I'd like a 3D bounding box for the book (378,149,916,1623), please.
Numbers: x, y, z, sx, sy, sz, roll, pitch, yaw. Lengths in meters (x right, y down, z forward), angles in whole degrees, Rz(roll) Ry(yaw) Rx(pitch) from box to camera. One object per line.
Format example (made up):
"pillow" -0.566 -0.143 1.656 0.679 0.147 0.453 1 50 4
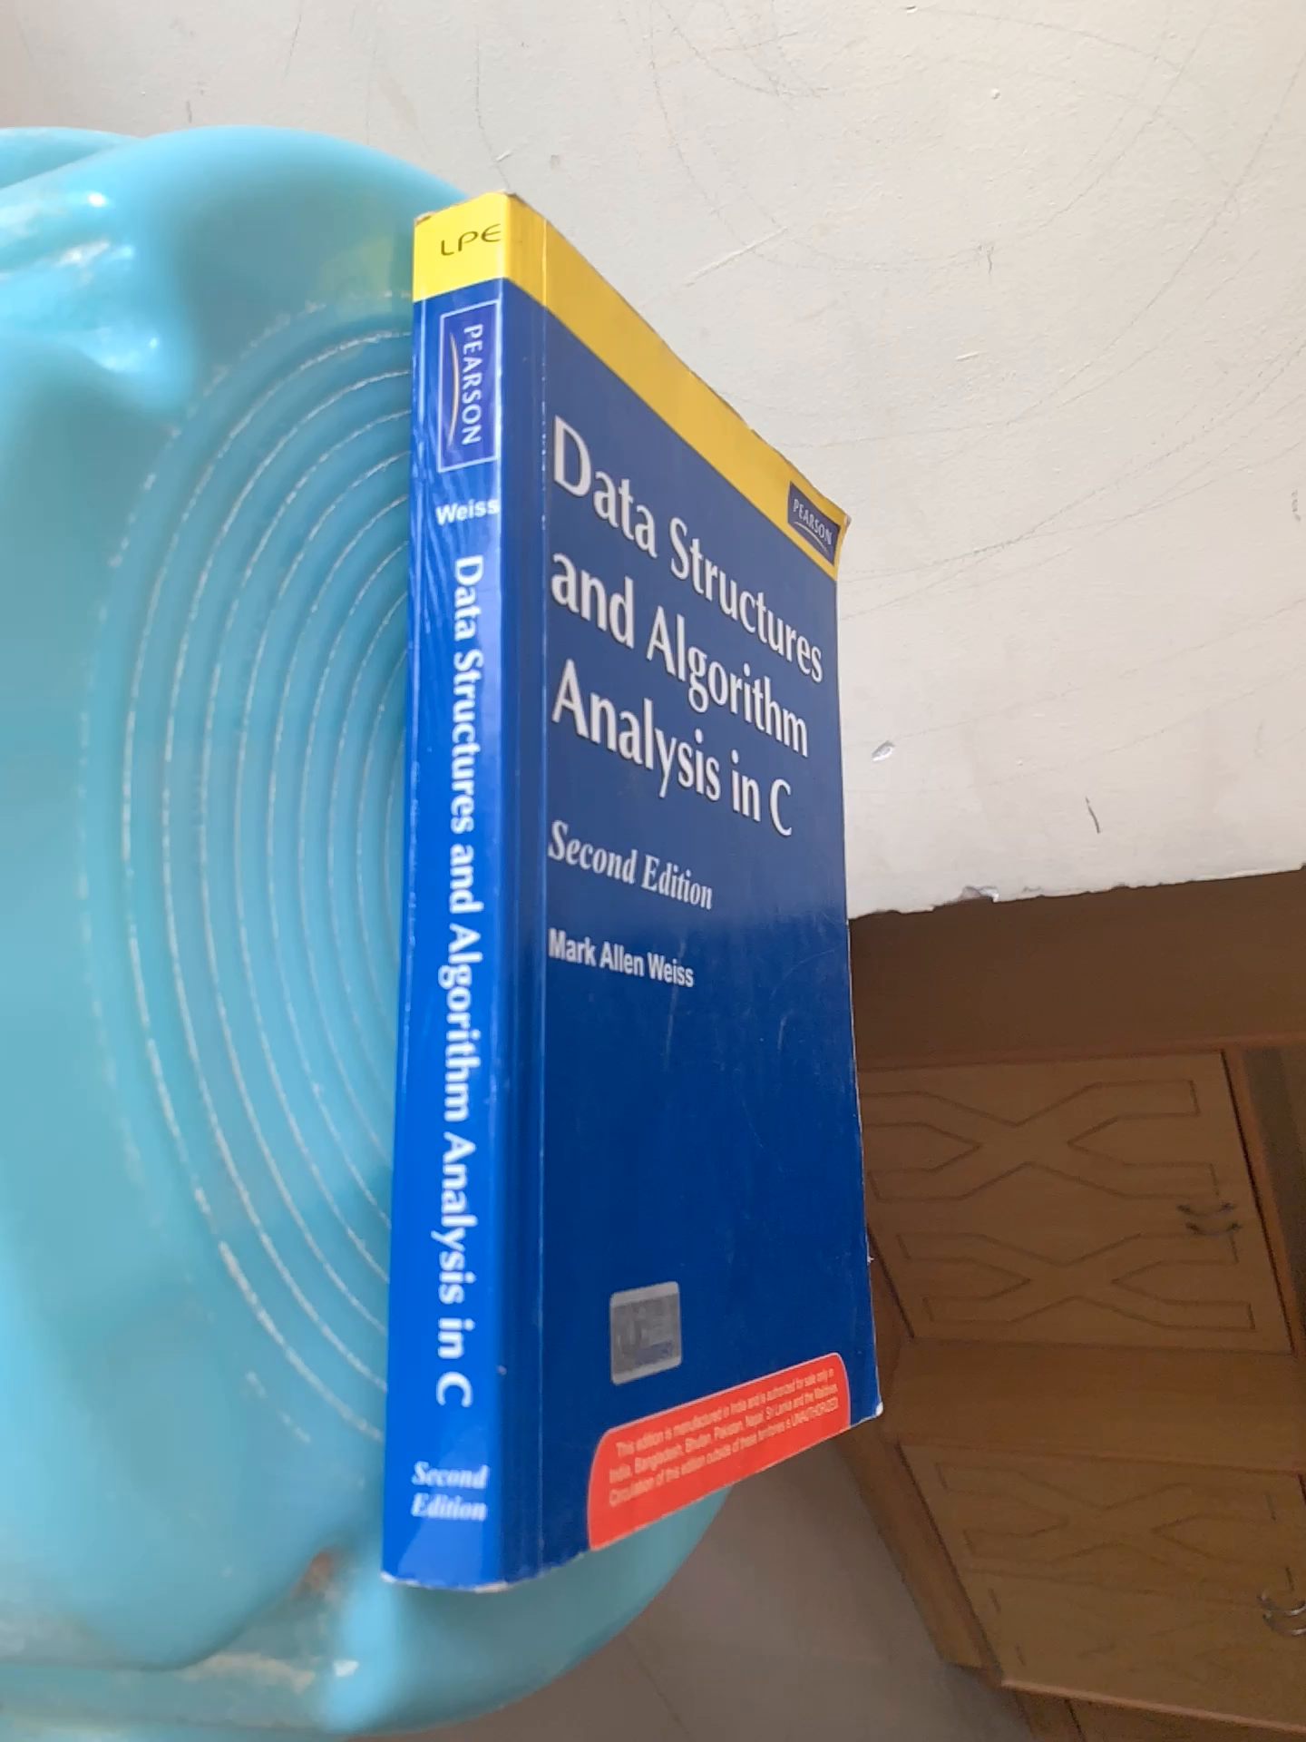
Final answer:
"book" 0.010 0.004 0.291 0.161 0.030 0.240 18 68 -58
